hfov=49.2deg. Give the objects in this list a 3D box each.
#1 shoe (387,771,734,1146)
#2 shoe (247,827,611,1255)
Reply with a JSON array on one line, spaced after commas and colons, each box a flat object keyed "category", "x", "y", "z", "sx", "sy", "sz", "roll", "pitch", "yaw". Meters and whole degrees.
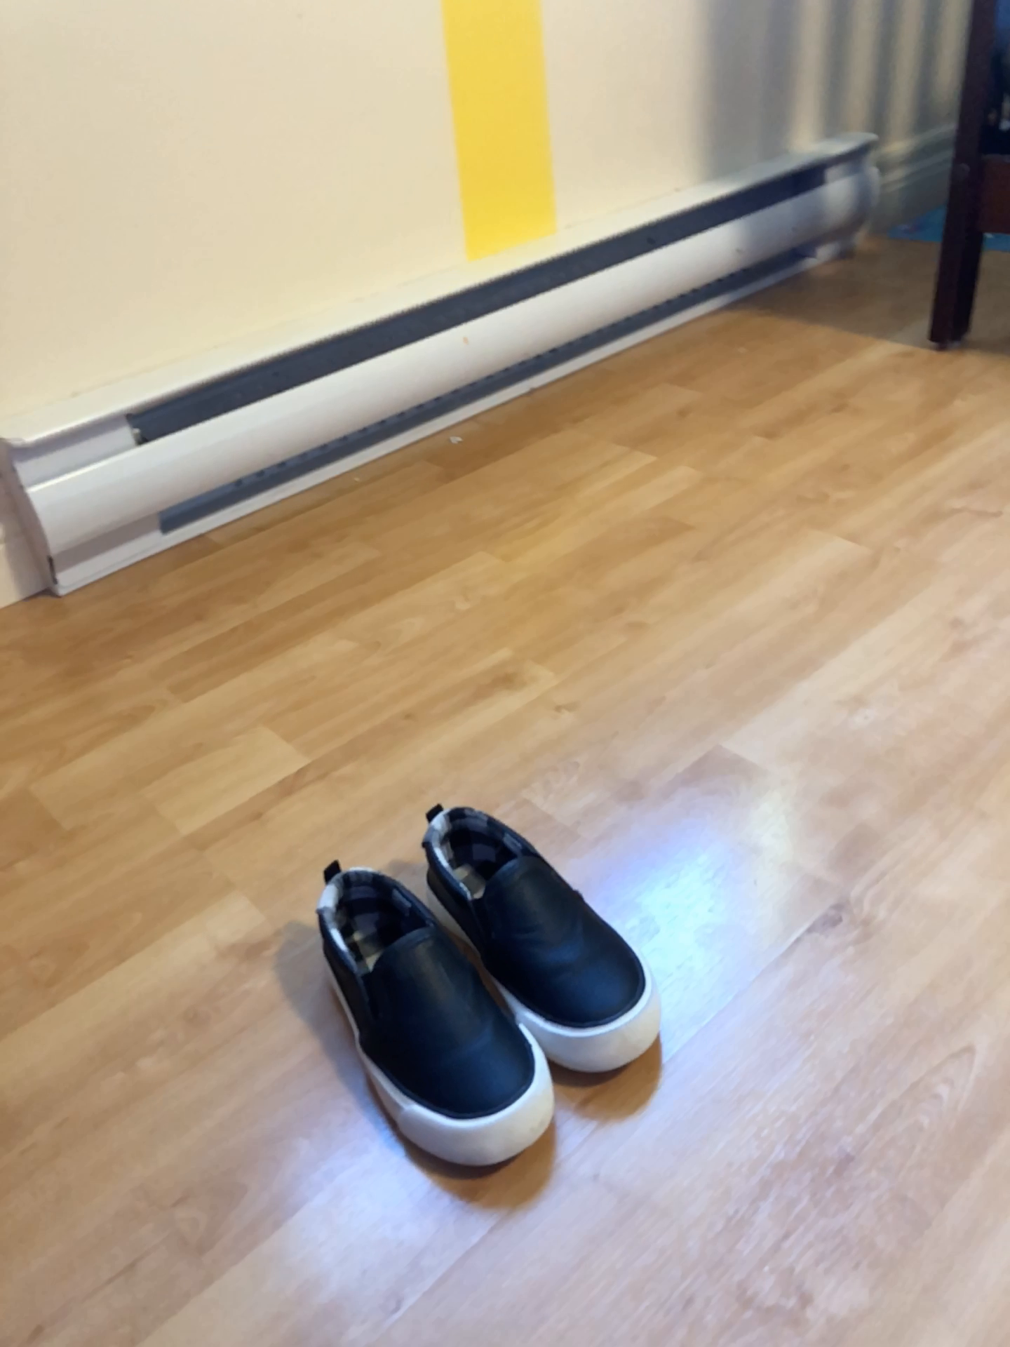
[{"category": "shoe", "x": 0.022, "y": 0.134, "z": 0.560, "sx": 0.080, "sy": 0.060, "sz": 0.181, "roll": -25, "pitch": 39, "yaw": -25}, {"category": "shoe", "x": -0.040, "y": 0.159, "z": 0.515, "sx": 0.080, "sy": 0.060, "sz": 0.181, "roll": -25, "pitch": 39, "yaw": -26}]
